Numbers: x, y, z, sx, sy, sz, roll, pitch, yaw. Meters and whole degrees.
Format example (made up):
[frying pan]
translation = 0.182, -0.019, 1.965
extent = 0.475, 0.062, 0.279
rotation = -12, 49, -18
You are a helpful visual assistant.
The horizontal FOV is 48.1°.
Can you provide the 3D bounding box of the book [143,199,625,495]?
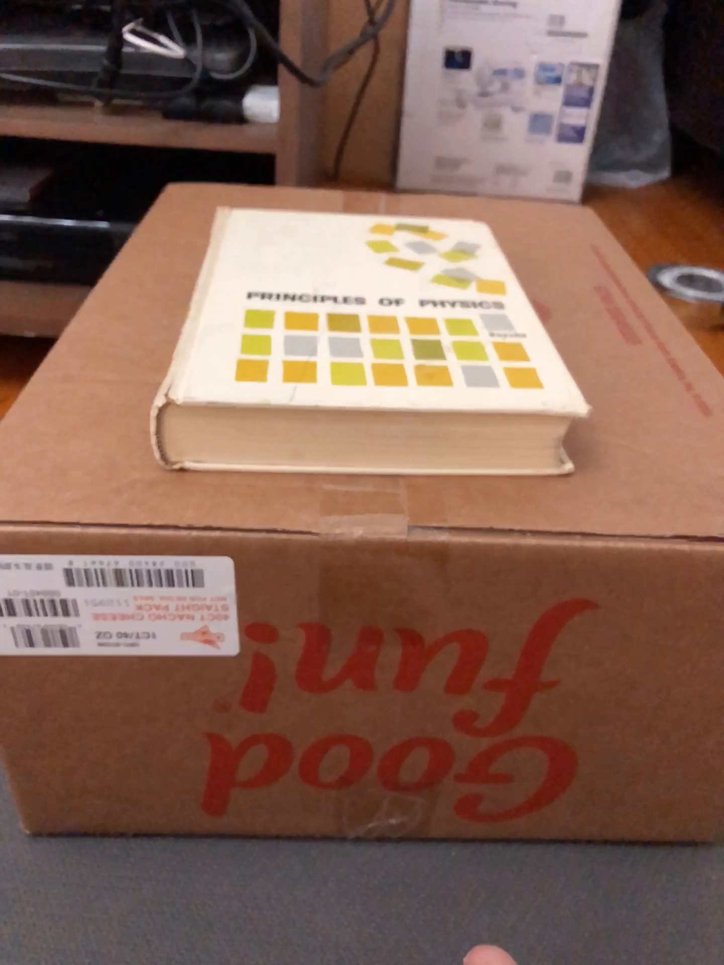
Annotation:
[book]
translation = 0.005, -0.085, 0.416
extent = 0.180, 0.040, 0.251
rotation = 1, 35, -3
